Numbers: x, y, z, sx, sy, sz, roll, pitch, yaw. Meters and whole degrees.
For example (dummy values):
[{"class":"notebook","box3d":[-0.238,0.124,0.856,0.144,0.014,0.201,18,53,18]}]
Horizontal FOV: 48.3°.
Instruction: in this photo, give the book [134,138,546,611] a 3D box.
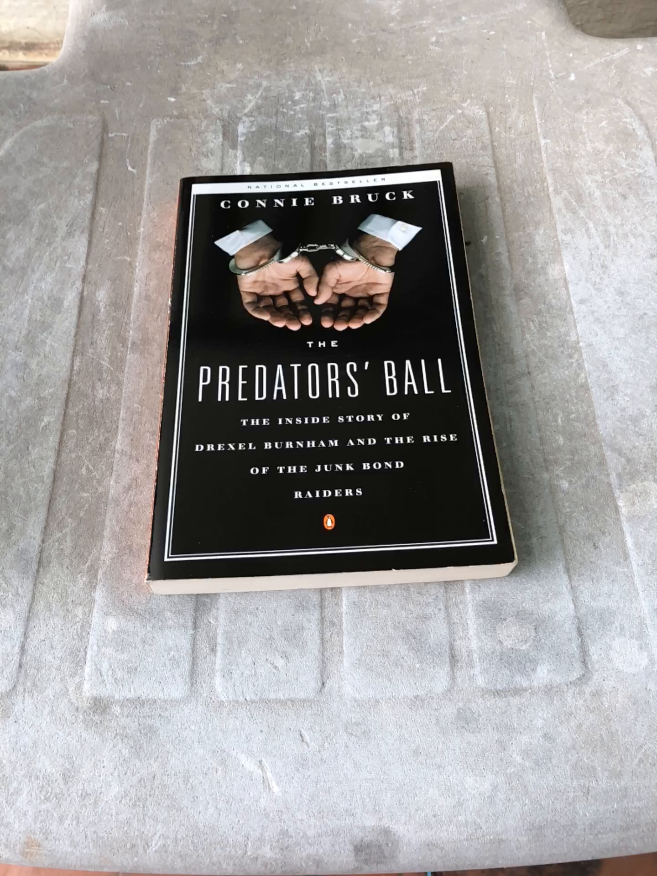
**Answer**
[{"class":"book","box3d":[0.000,-0.038,0.311,0.140,0.030,0.210,-3,62,1]}]
